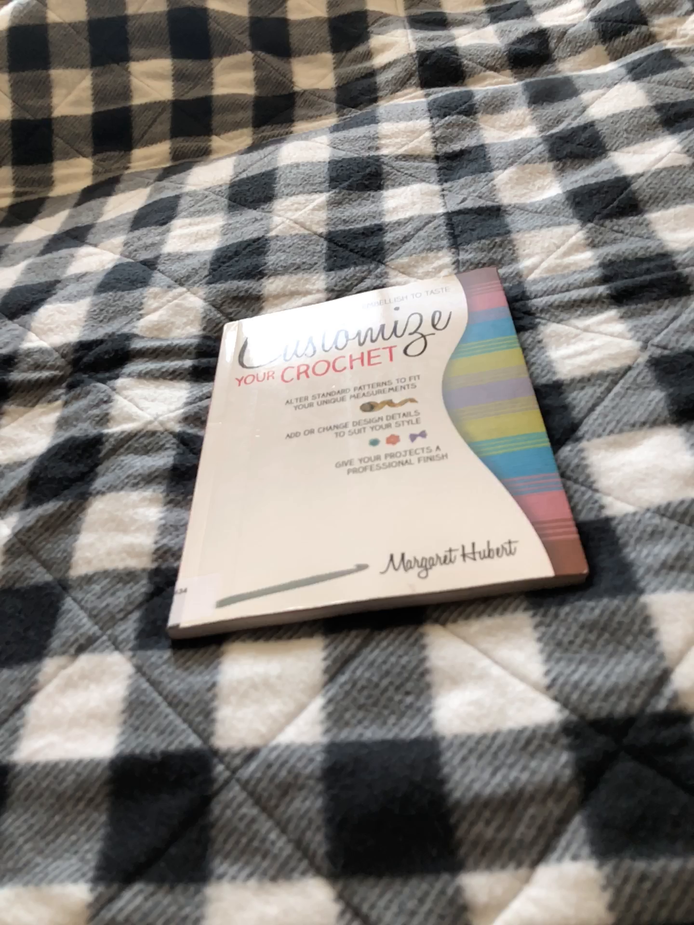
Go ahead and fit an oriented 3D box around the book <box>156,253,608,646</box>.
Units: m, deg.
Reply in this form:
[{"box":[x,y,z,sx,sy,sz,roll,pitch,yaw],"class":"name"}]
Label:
[{"box":[0.010,-0.024,0.401,0.186,0.020,0.239,-10,43,8],"class":"book"}]
